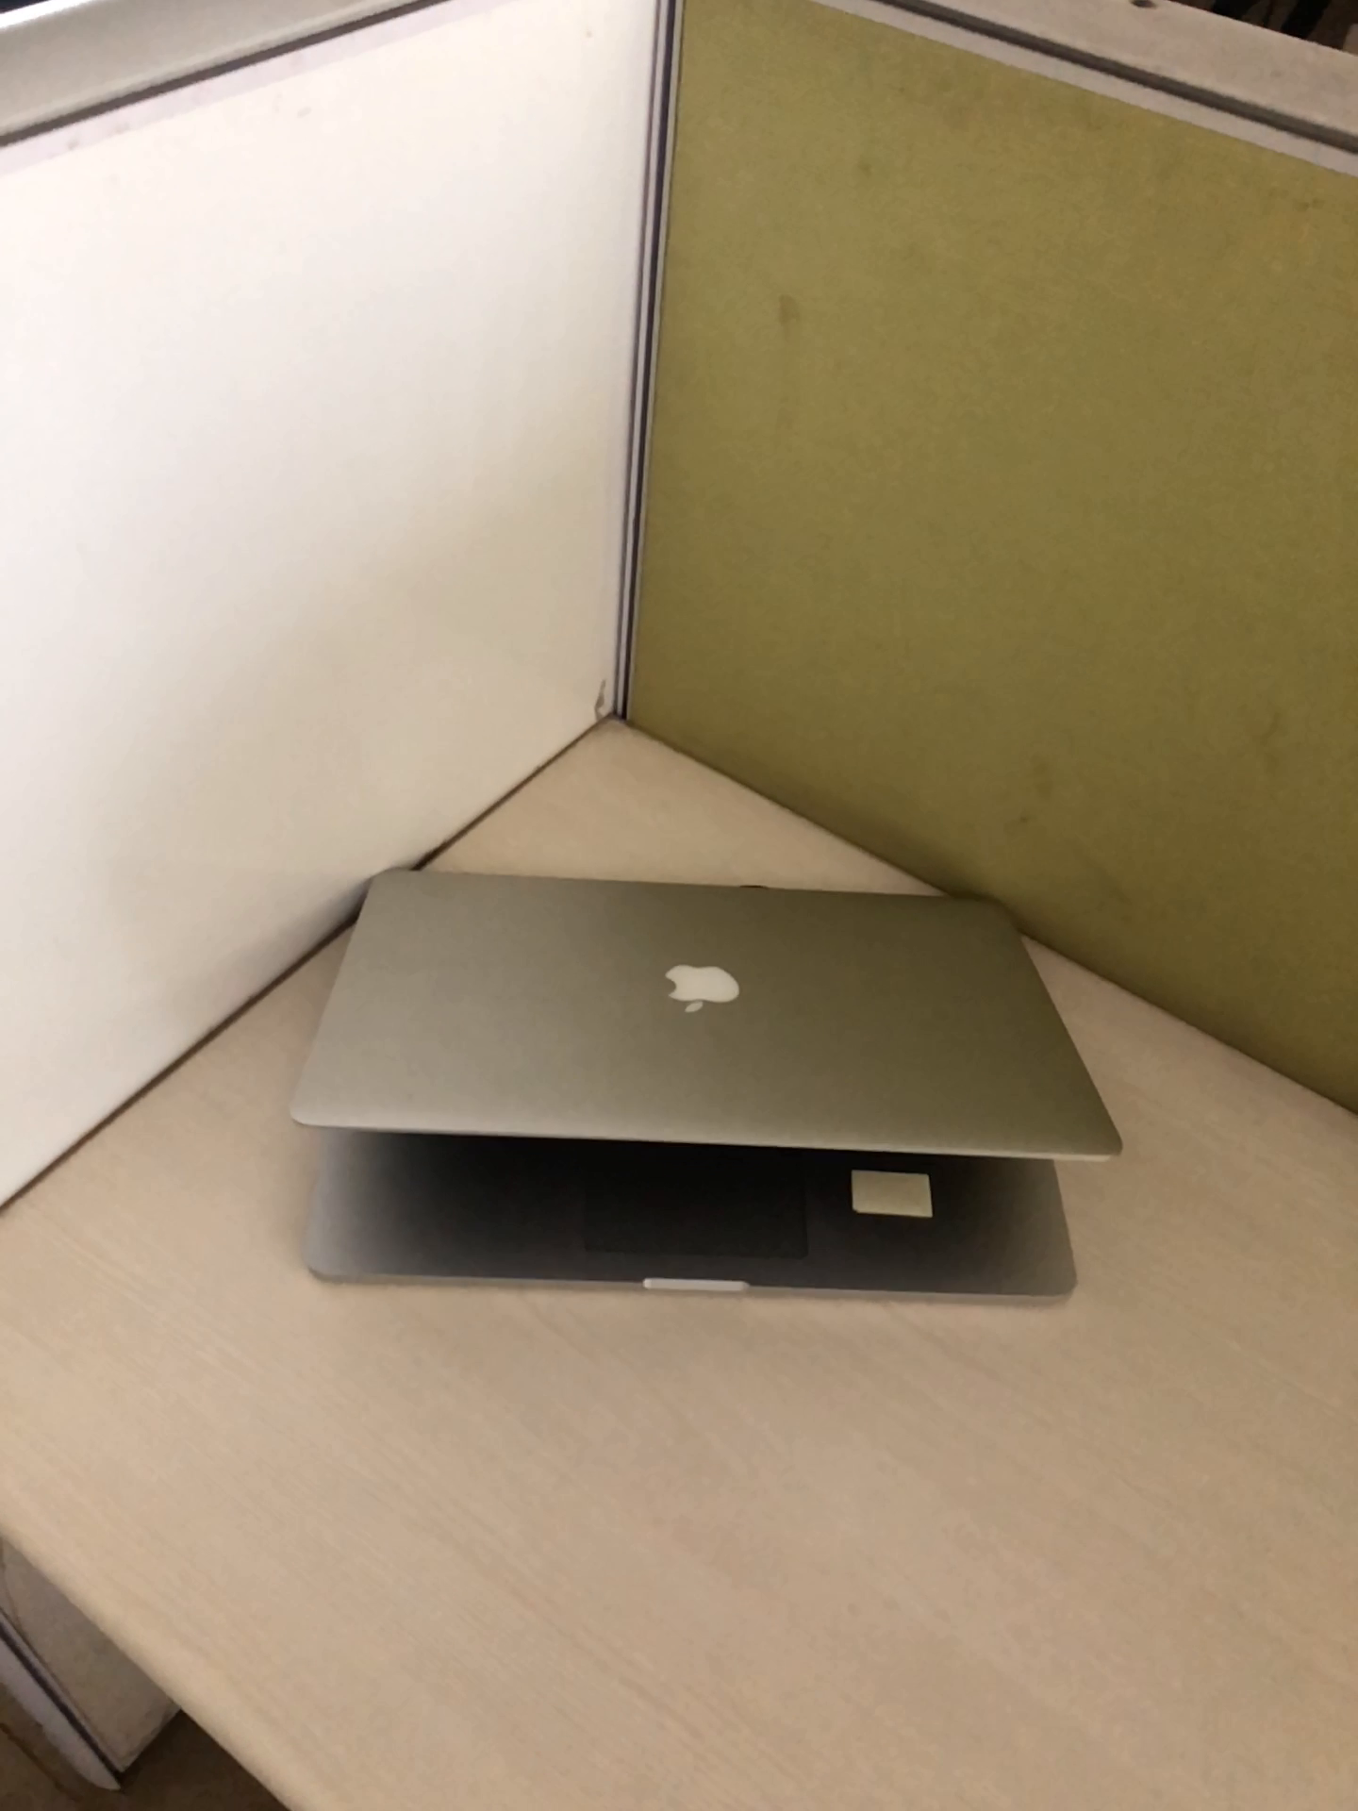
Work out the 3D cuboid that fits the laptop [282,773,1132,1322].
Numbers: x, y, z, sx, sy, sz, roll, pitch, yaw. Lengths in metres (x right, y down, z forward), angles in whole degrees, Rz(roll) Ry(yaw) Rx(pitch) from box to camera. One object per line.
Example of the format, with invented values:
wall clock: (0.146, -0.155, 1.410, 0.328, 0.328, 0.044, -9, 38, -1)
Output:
laptop: (0.010, 0.060, 0.713, 0.343, 0.083, 0.244, 3, 47, -3)
